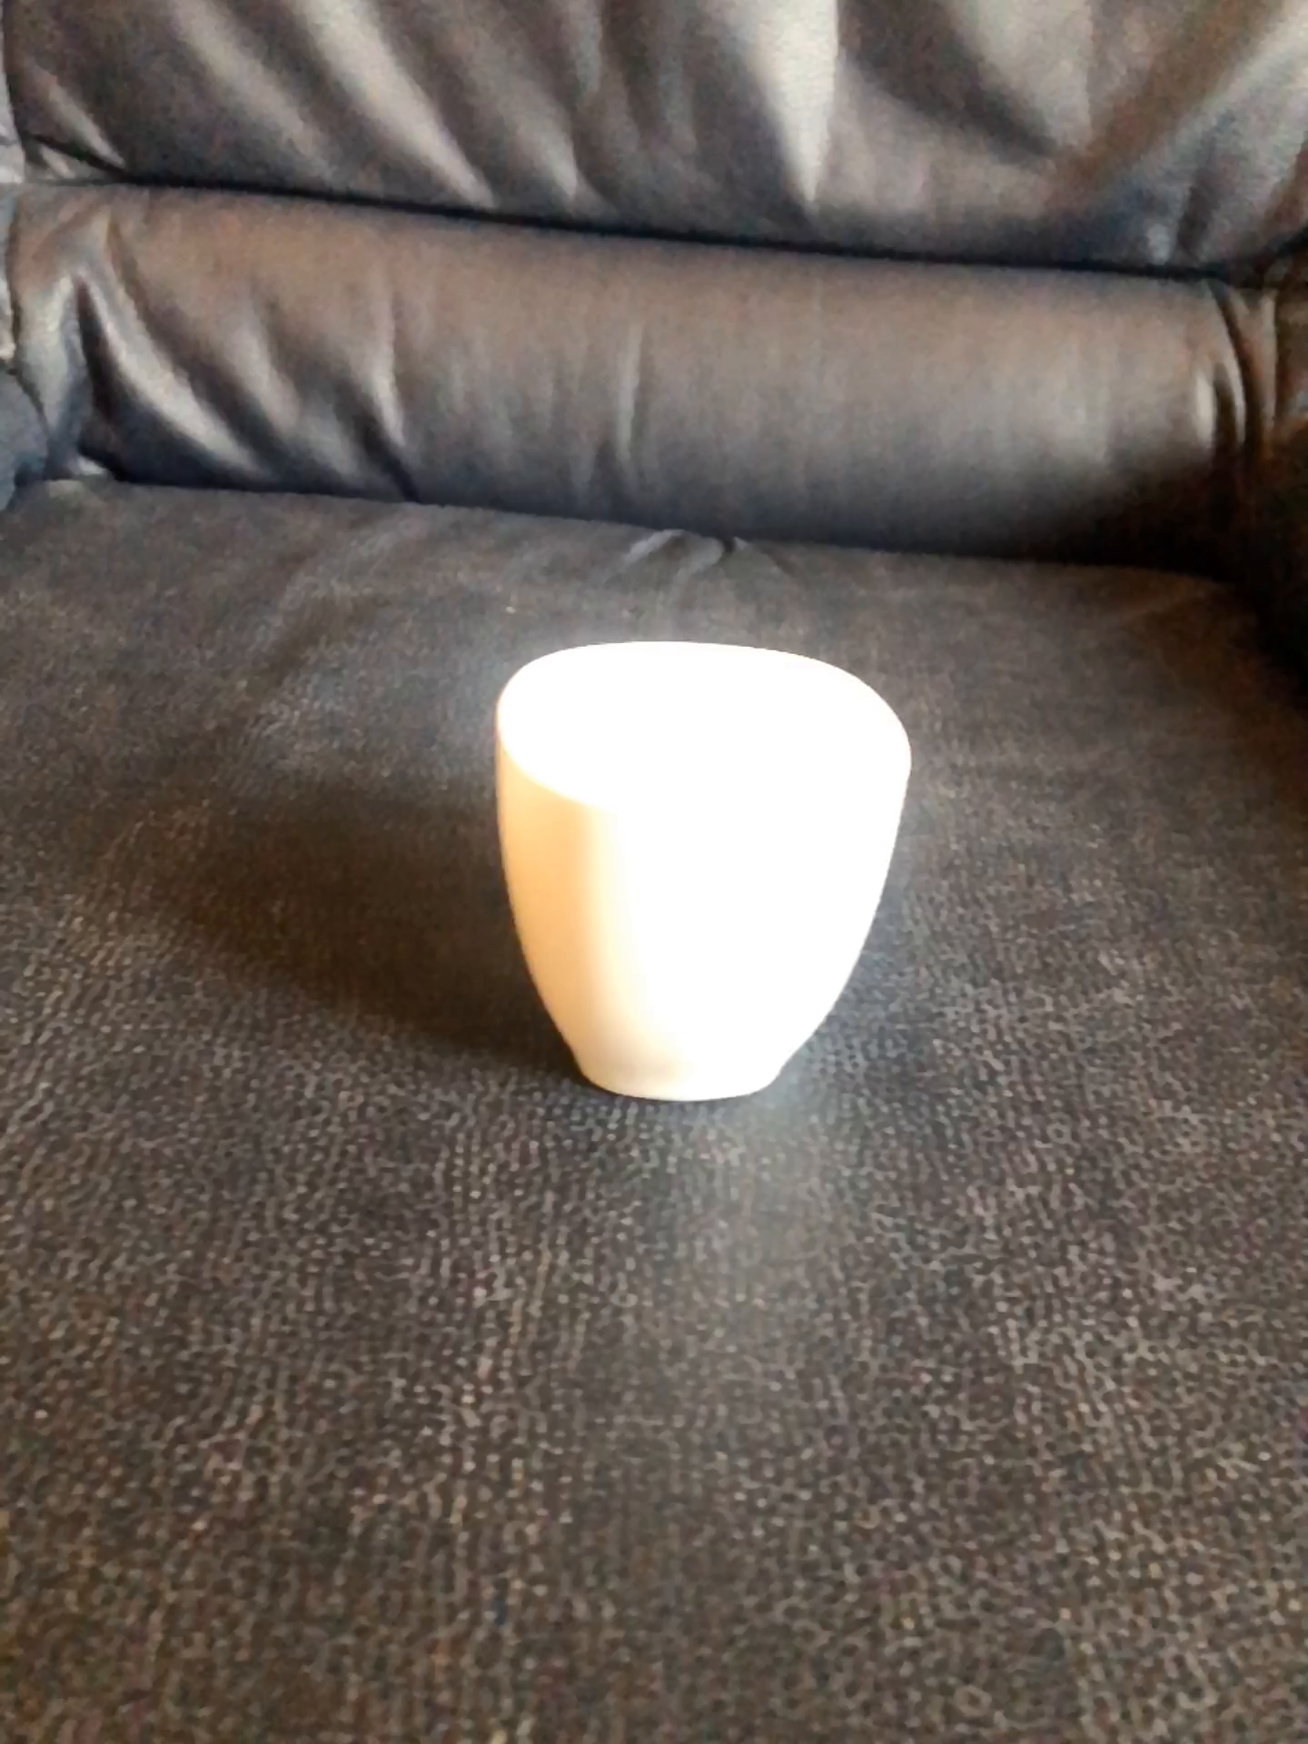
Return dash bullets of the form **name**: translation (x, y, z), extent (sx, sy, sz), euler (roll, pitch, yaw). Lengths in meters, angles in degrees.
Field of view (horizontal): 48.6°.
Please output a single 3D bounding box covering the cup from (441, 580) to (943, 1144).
- **cup**: translation (0.005, -0.007, 0.290), extent (0.080, 0.063, 0.102), euler (4, 32, -1)
